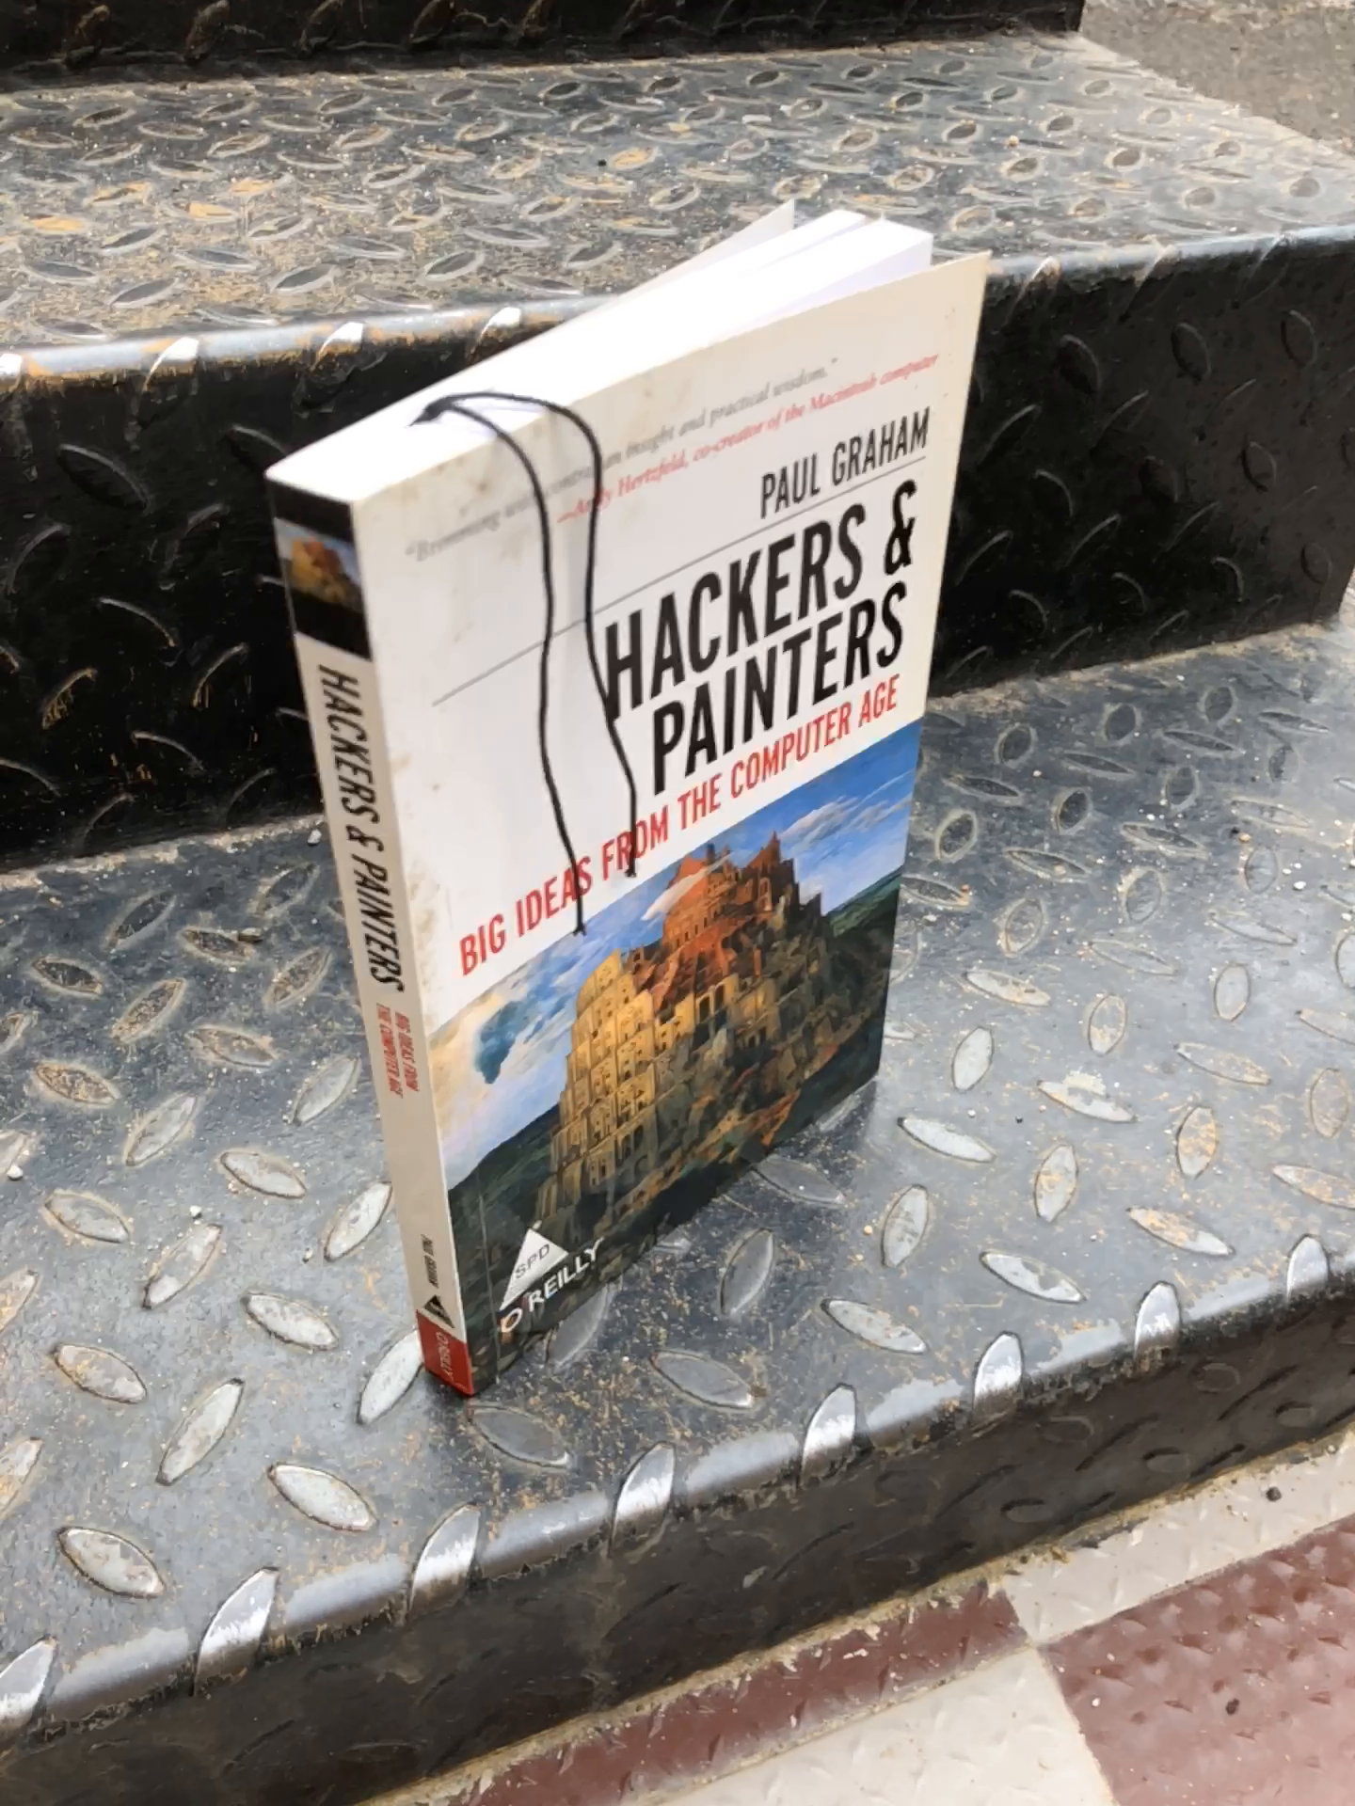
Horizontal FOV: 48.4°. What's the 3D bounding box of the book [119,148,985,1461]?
[{"bbox_3d":[-0.005,-0.013,0.309,0.030,0.219,0.171,27,49,28],"label":"book"}]
